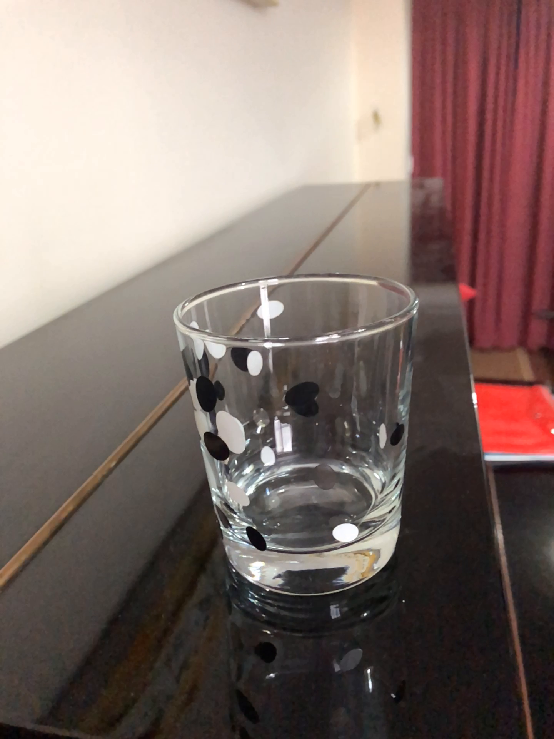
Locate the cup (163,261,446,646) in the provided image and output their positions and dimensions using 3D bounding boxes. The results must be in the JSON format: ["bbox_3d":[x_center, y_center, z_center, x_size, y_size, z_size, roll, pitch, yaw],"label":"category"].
[{"bbox_3d":[0.007,0.021,0.223,0.070,0.099,0.080,-10,21,-16],"label":"cup"}]
